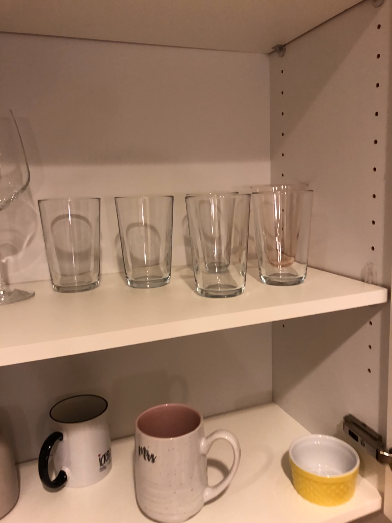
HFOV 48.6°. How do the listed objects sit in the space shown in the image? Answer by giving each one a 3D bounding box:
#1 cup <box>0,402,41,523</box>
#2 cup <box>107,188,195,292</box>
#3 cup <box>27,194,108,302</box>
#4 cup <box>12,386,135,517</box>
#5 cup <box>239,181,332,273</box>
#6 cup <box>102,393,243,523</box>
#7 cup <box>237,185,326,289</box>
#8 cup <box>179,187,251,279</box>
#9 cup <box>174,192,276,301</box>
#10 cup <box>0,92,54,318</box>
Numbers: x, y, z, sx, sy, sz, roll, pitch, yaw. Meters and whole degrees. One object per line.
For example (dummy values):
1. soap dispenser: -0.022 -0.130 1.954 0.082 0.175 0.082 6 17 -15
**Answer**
1. cup: -0.281 0.258 0.536 0.140 0.090 0.110 7 13 45
2. cup: -0.060 -0.033 0.566 0.080 0.120 0.090 -7 10 -26
3. cup: -0.176 -0.024 0.588 0.080 0.130 0.090 -7 10 -26
4. cup: -0.159 0.248 0.592 0.090 0.090 0.140 1 10 20
5. cup: 0.130 -0.055 0.641 0.090 0.120 0.100 -6 10 -24
6. cup: -0.022 0.233 0.509 0.140 0.110 0.090 0 9 14
7. cup: 0.109 -0.036 0.559 0.080 0.120 0.080 -2 9 0
8. cup: 0.027 -0.045 0.631 0.070 0.120 0.080 -7 10 -26
9. cup: 0.032 -0.023 0.502 0.080 0.110 0.090 -7 10 -26
10. cup: -0.261 -0.072 0.567 0.110 0.259 0.090 -7 10 -26
